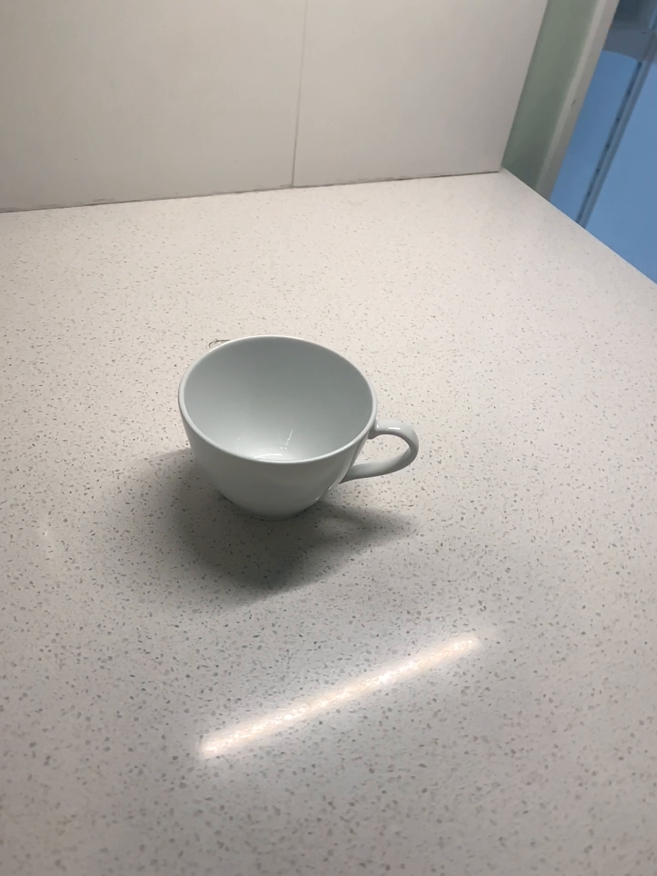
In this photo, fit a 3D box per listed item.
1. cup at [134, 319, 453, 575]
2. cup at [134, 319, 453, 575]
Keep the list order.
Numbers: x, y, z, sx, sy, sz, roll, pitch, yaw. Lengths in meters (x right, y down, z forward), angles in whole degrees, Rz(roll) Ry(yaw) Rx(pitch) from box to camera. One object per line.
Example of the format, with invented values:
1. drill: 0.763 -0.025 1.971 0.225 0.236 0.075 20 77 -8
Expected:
1. cup: -0.012 0.001 0.329 0.130 0.050 0.090 13 44 4
2. cup: -0.012 0.001 0.329 0.130 0.050 0.090 13 44 4
